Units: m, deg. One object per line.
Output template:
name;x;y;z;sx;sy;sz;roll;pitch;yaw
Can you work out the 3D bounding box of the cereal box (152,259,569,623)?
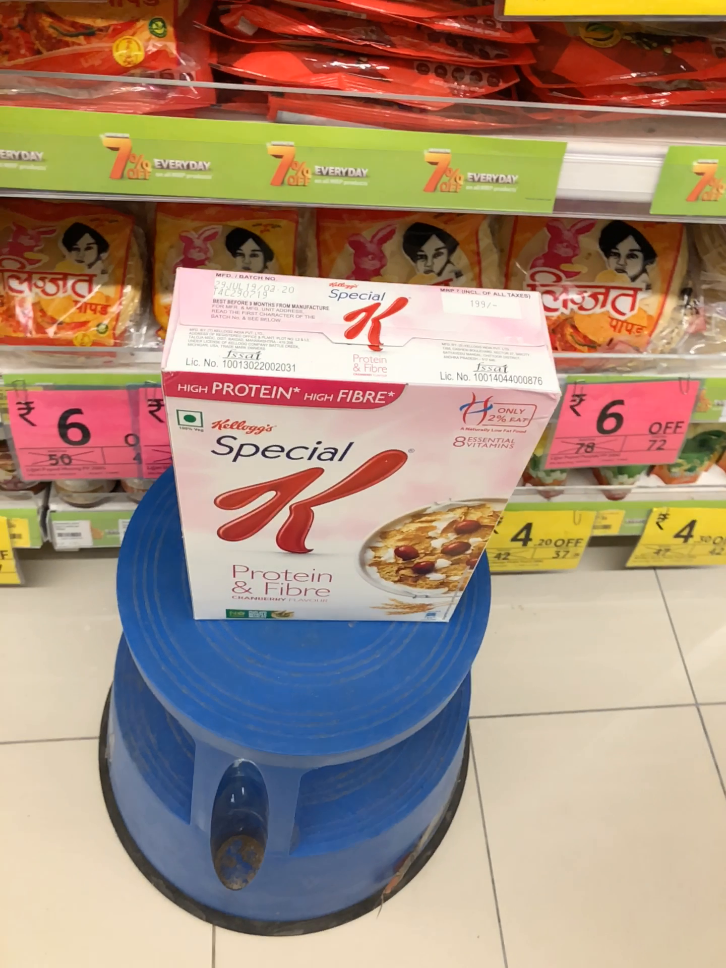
cereal box;-0.011;-0.004;0.467;0.180;0.249;0.070;2;56;-5
